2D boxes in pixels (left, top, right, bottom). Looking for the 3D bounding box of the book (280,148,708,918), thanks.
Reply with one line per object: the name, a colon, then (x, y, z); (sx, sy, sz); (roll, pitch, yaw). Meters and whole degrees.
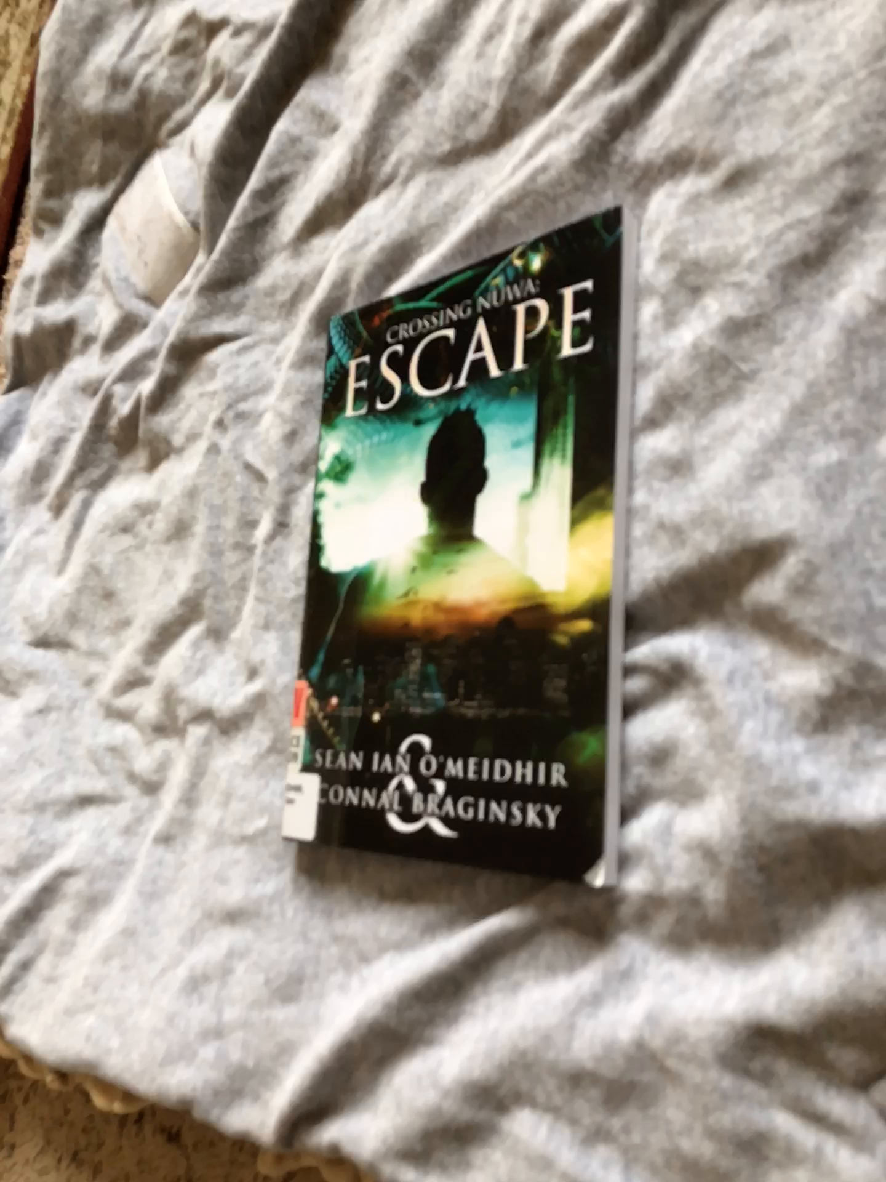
book: (0.015, -0.020, 0.371); (0.161, 0.030, 0.250); (-3, 78, 41)
